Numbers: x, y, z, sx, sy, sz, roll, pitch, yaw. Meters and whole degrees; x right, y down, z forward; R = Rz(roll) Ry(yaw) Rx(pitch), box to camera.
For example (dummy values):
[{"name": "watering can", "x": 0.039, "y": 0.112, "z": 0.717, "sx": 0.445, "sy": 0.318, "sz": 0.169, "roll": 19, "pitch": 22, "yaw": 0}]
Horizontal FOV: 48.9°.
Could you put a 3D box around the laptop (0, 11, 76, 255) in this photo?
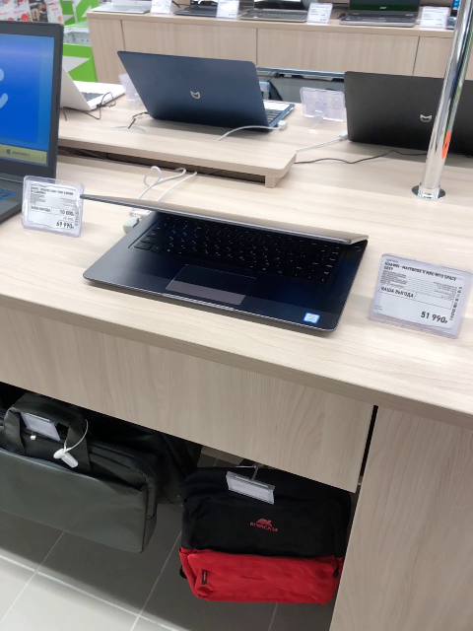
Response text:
[{"name": "laptop", "x": -0.541, "y": -0.334, "z": 0.871, "sx": 0.348, "sy": 0.231, "sz": 0.379, "roll": 13, "pitch": 40, "yaw": 16}]

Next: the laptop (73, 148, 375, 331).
[{"name": "laptop", "x": -0.008, "y": -0.124, "z": 0.726, "sx": 0.344, "sy": 0.099, "sz": 0.222, "roll": 13, "pitch": 40, "yaw": 17}]
